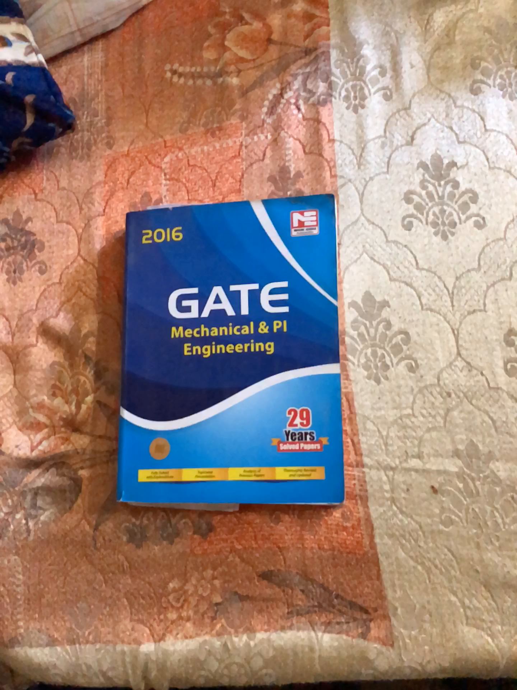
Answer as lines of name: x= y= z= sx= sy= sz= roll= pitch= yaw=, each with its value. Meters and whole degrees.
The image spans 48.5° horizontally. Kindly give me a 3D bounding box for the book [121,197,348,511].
book: x=-0.020 y=0.009 z=0.549 sx=0.200 sy=0.051 sz=0.280 roll=-2 pitch=79 yaw=11
